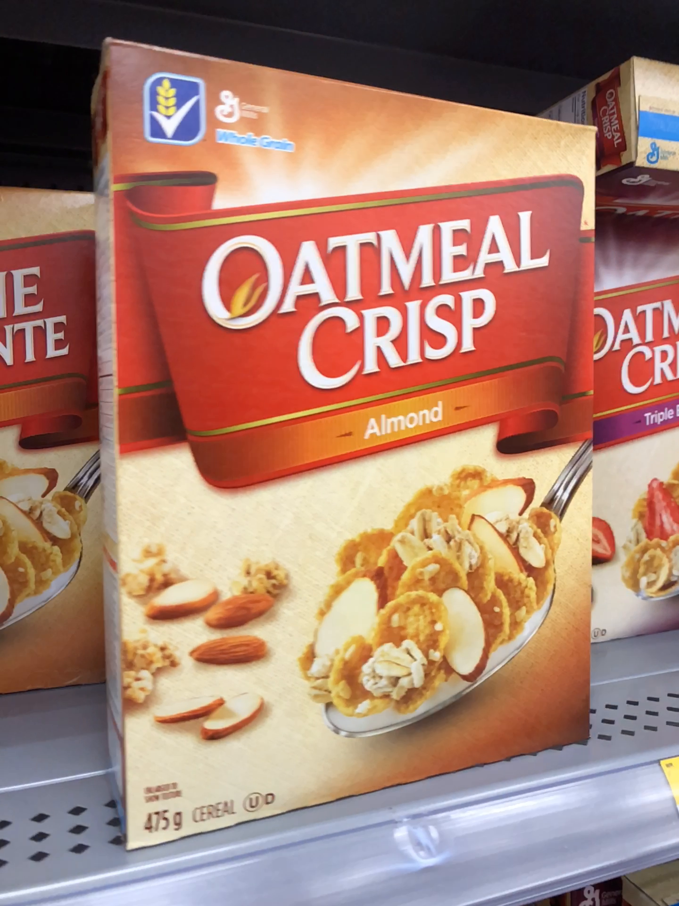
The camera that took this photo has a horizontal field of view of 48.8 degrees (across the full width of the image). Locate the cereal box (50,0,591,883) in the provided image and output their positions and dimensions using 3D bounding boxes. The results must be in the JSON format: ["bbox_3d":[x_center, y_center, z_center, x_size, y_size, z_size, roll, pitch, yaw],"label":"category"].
[{"bbox_3d":[0.001,-0.006,0.301,0.210,0.280,0.050,-2,3,-25],"label":"cereal box"}]
